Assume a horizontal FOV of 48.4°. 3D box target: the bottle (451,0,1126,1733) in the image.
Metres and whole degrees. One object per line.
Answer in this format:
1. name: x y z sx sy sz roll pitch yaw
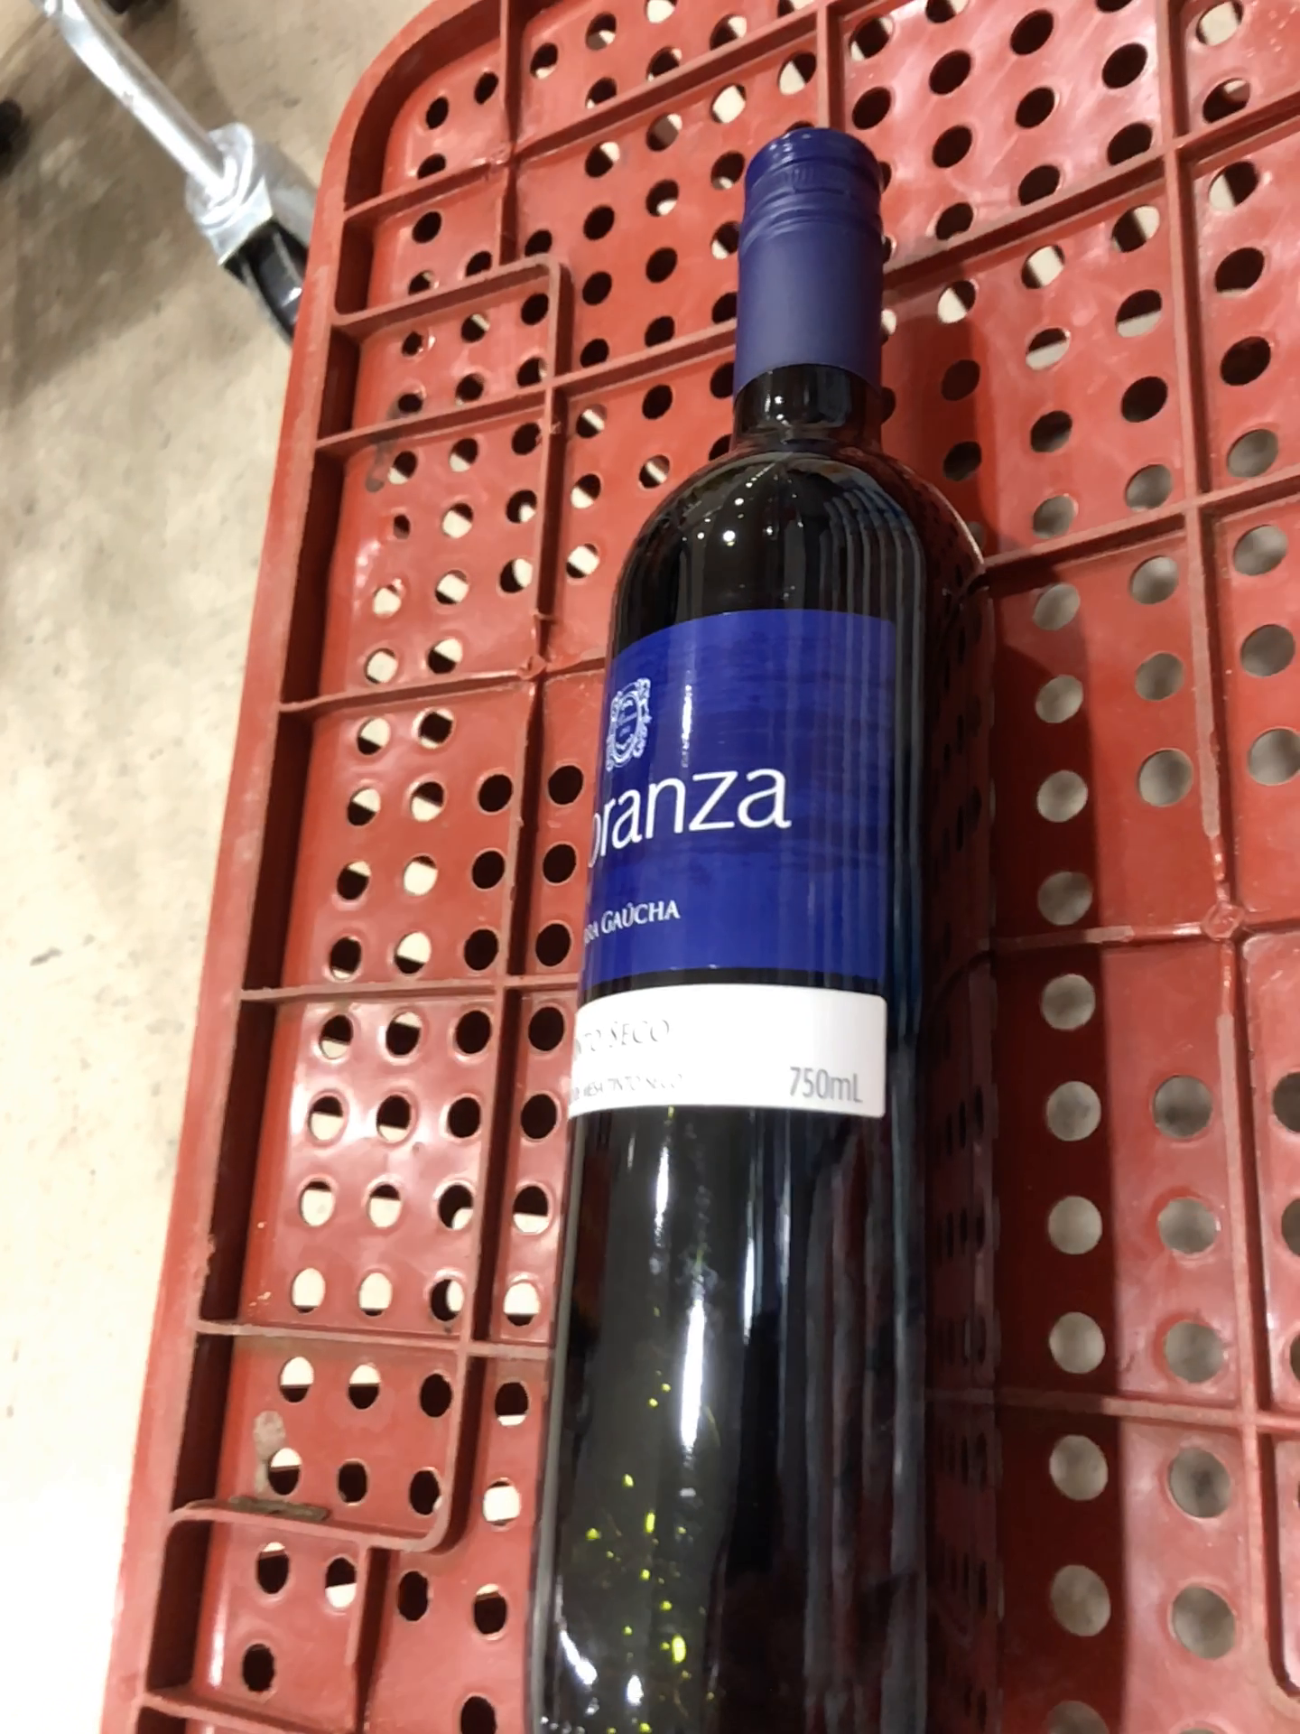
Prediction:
1. bottle: 0.023 -0.008 0.254 0.080 0.060 0.300 -21 61 53
